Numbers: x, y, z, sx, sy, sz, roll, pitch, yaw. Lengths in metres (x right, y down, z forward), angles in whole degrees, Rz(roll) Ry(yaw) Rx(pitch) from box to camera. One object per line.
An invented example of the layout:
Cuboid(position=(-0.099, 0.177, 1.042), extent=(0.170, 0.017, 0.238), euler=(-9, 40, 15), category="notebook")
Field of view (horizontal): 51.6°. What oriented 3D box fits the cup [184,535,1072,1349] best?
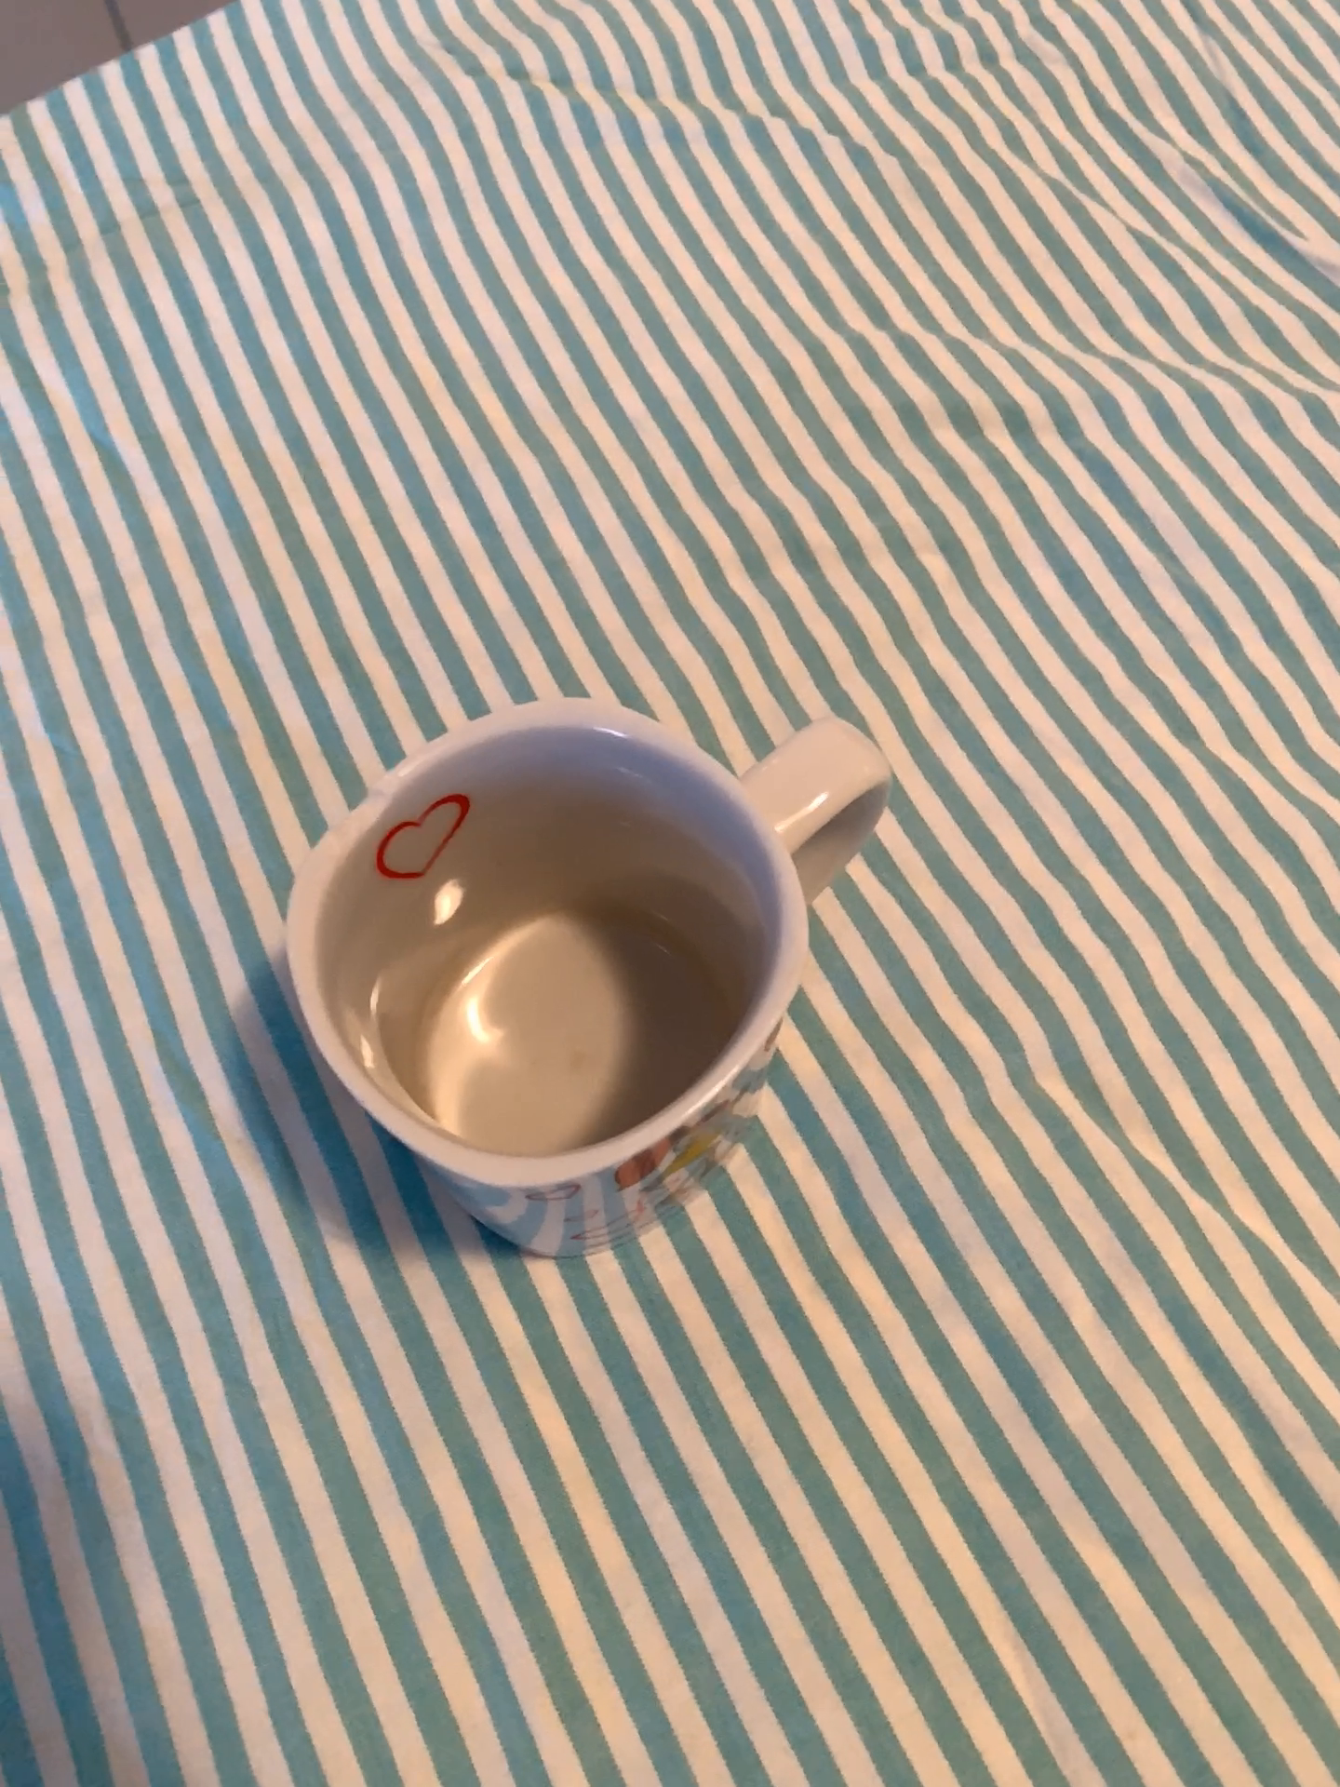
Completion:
Cuboid(position=(-0.006, 0.012, 0.240), extent=(0.110, 0.080, 0.070), euler=(-32, 70, -13), category="cup")
